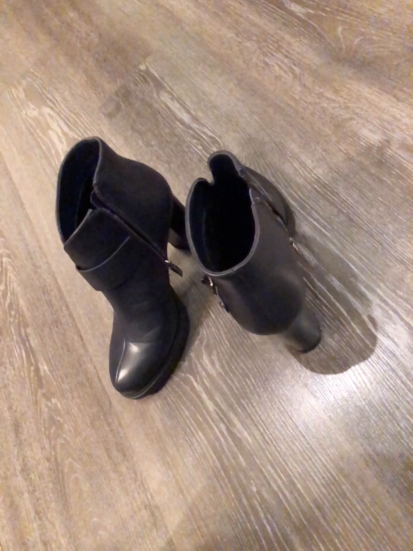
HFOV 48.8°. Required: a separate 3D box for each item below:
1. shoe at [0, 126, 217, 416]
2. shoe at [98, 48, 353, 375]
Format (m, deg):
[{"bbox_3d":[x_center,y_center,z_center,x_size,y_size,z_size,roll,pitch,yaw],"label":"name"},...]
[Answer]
[{"bbox_3d":[-0.098,0.007,0.437,0.090,0.189,0.210,6,73,32],"label":"shoe"},{"bbox_3d":[0.019,-0.044,0.402,0.090,0.189,0.211,-30,57,16],"label":"shoe"}]
